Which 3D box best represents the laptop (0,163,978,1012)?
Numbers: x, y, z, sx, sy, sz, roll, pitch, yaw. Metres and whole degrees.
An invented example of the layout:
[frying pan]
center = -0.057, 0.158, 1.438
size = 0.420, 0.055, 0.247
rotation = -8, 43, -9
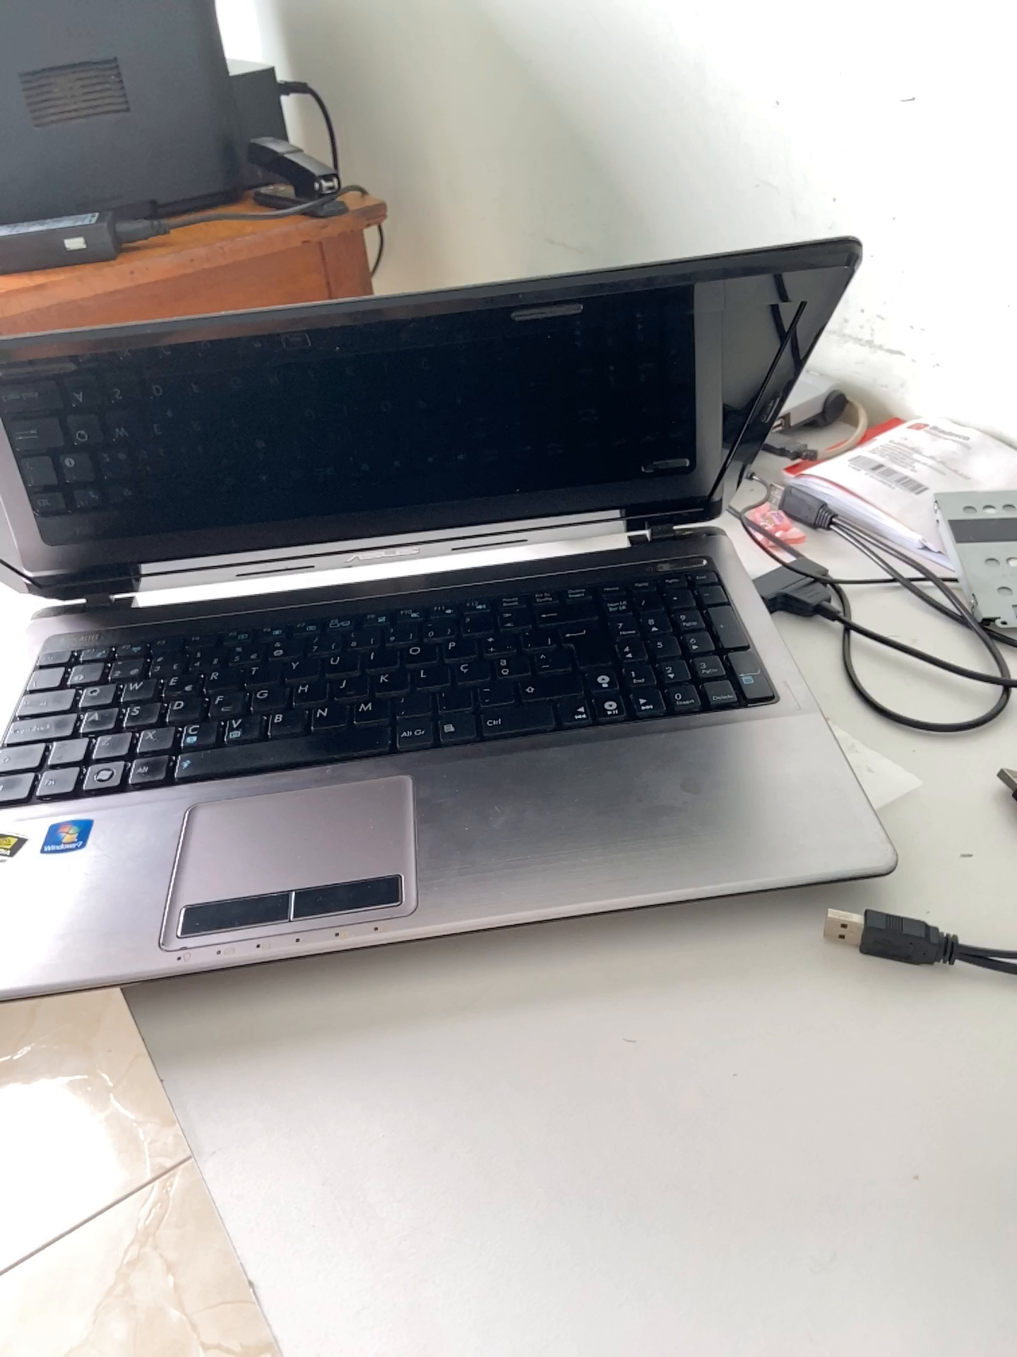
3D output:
[laptop]
center = -0.069, -0.055, 0.415
size = 0.376, 0.182, 0.247
rotation = -8, 37, -1
